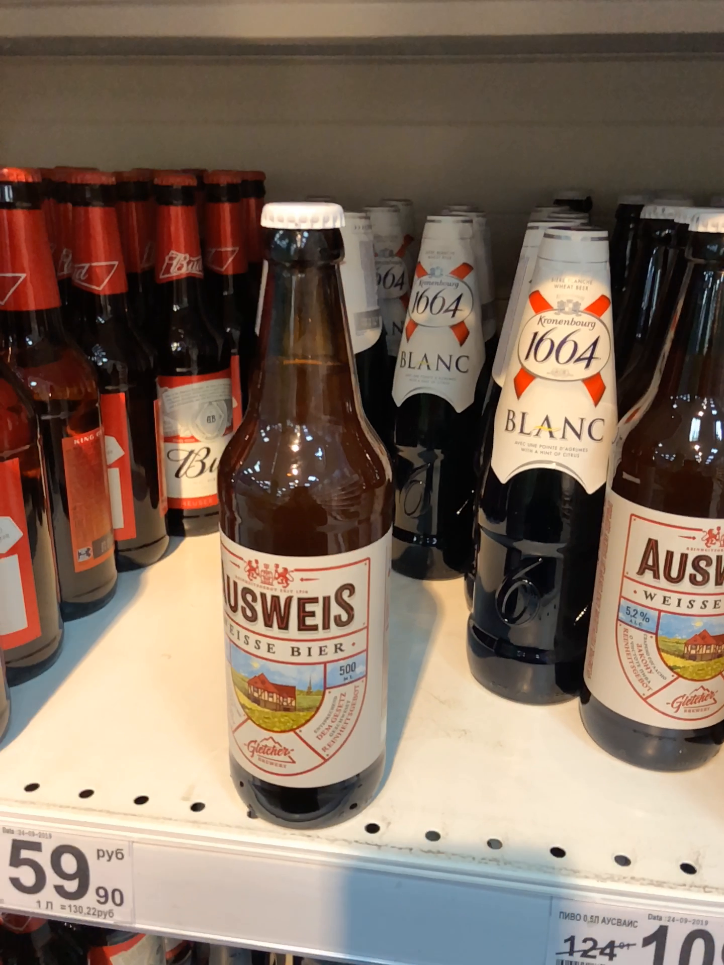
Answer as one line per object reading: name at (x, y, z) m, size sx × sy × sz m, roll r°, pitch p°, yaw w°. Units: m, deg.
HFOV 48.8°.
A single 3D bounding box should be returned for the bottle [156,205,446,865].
bottle at (-0.019, 0.020, 0.324) m, size 0.080 × 0.249 × 0.070 m, roll 8°, pitch 21°, yaw 20°
